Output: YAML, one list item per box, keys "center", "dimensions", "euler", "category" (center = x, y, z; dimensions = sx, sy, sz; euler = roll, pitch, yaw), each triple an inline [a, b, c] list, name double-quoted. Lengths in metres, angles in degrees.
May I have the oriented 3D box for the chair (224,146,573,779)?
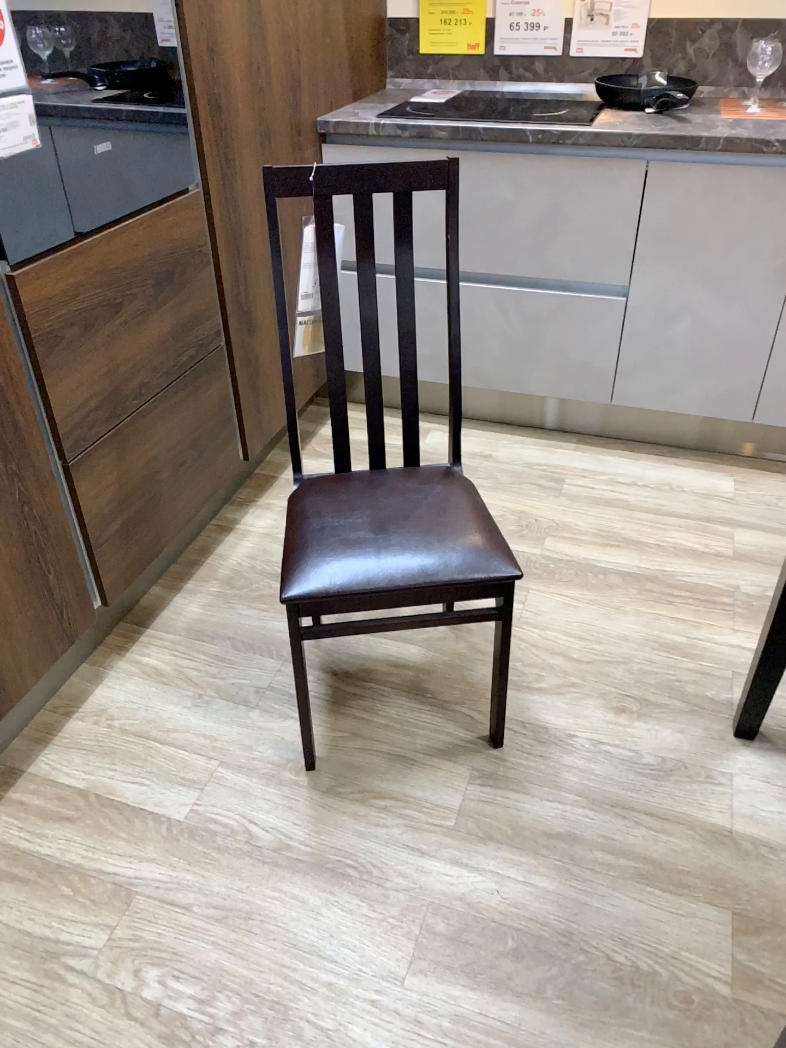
- center: [-0.013, -0.088, 1.489]
  dimensions: [0.430, 1.014, 0.523]
  euler: [-5, 36, -5]
  category: "chair"
